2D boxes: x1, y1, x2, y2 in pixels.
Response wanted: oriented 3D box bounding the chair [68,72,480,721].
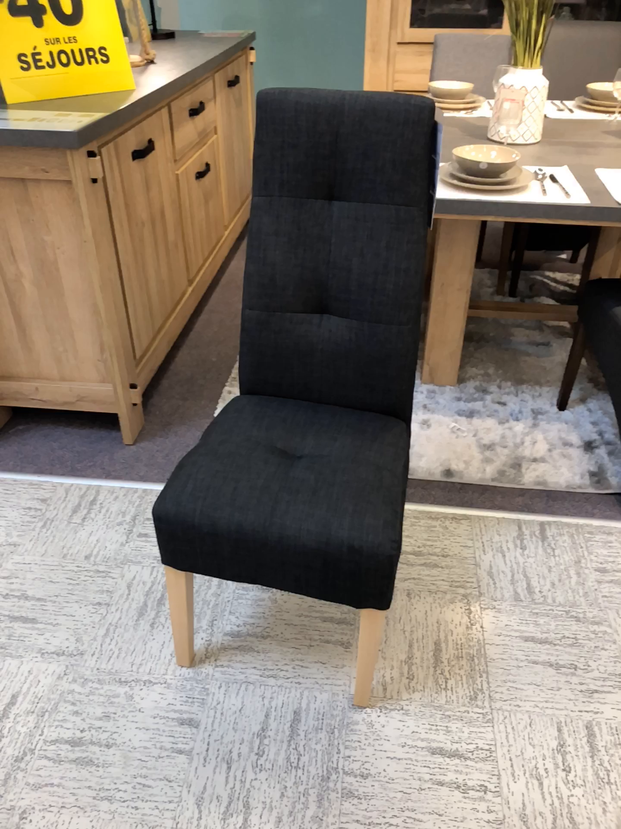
[{"bbox_3d":[0.004,-0.032,1.319,0.480,1.044,0.604,7,35,10],"label":"chair"}]
